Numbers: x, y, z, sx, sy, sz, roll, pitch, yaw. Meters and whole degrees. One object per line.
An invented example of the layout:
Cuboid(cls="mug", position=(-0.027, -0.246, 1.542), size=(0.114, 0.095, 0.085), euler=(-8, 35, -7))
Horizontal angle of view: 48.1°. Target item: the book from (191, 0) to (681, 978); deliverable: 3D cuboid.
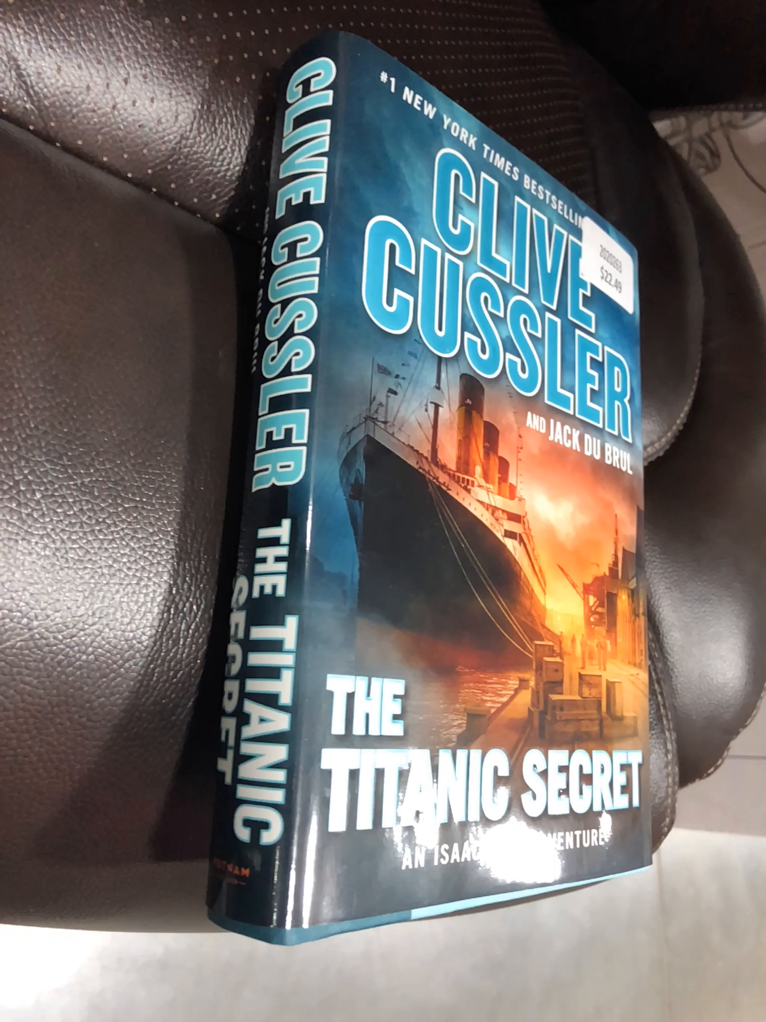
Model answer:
Cuboid(cls="book", position=(0.034, -0.006, 0.275), size=(0.166, 0.040, 0.249), euler=(15, 73, -42))
